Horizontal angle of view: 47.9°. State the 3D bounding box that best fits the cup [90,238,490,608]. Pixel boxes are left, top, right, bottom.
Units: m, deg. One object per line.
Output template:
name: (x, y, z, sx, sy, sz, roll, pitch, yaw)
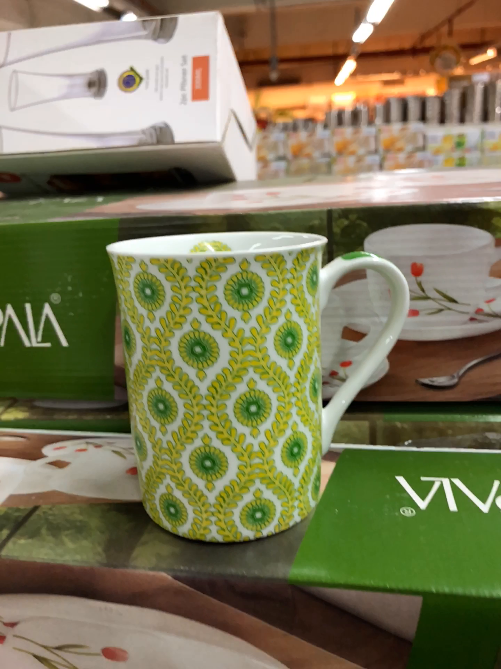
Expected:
cup: (0.007, 0.015, 0.194, 0.110, 0.090, 0.080, -6, 11, -18)
